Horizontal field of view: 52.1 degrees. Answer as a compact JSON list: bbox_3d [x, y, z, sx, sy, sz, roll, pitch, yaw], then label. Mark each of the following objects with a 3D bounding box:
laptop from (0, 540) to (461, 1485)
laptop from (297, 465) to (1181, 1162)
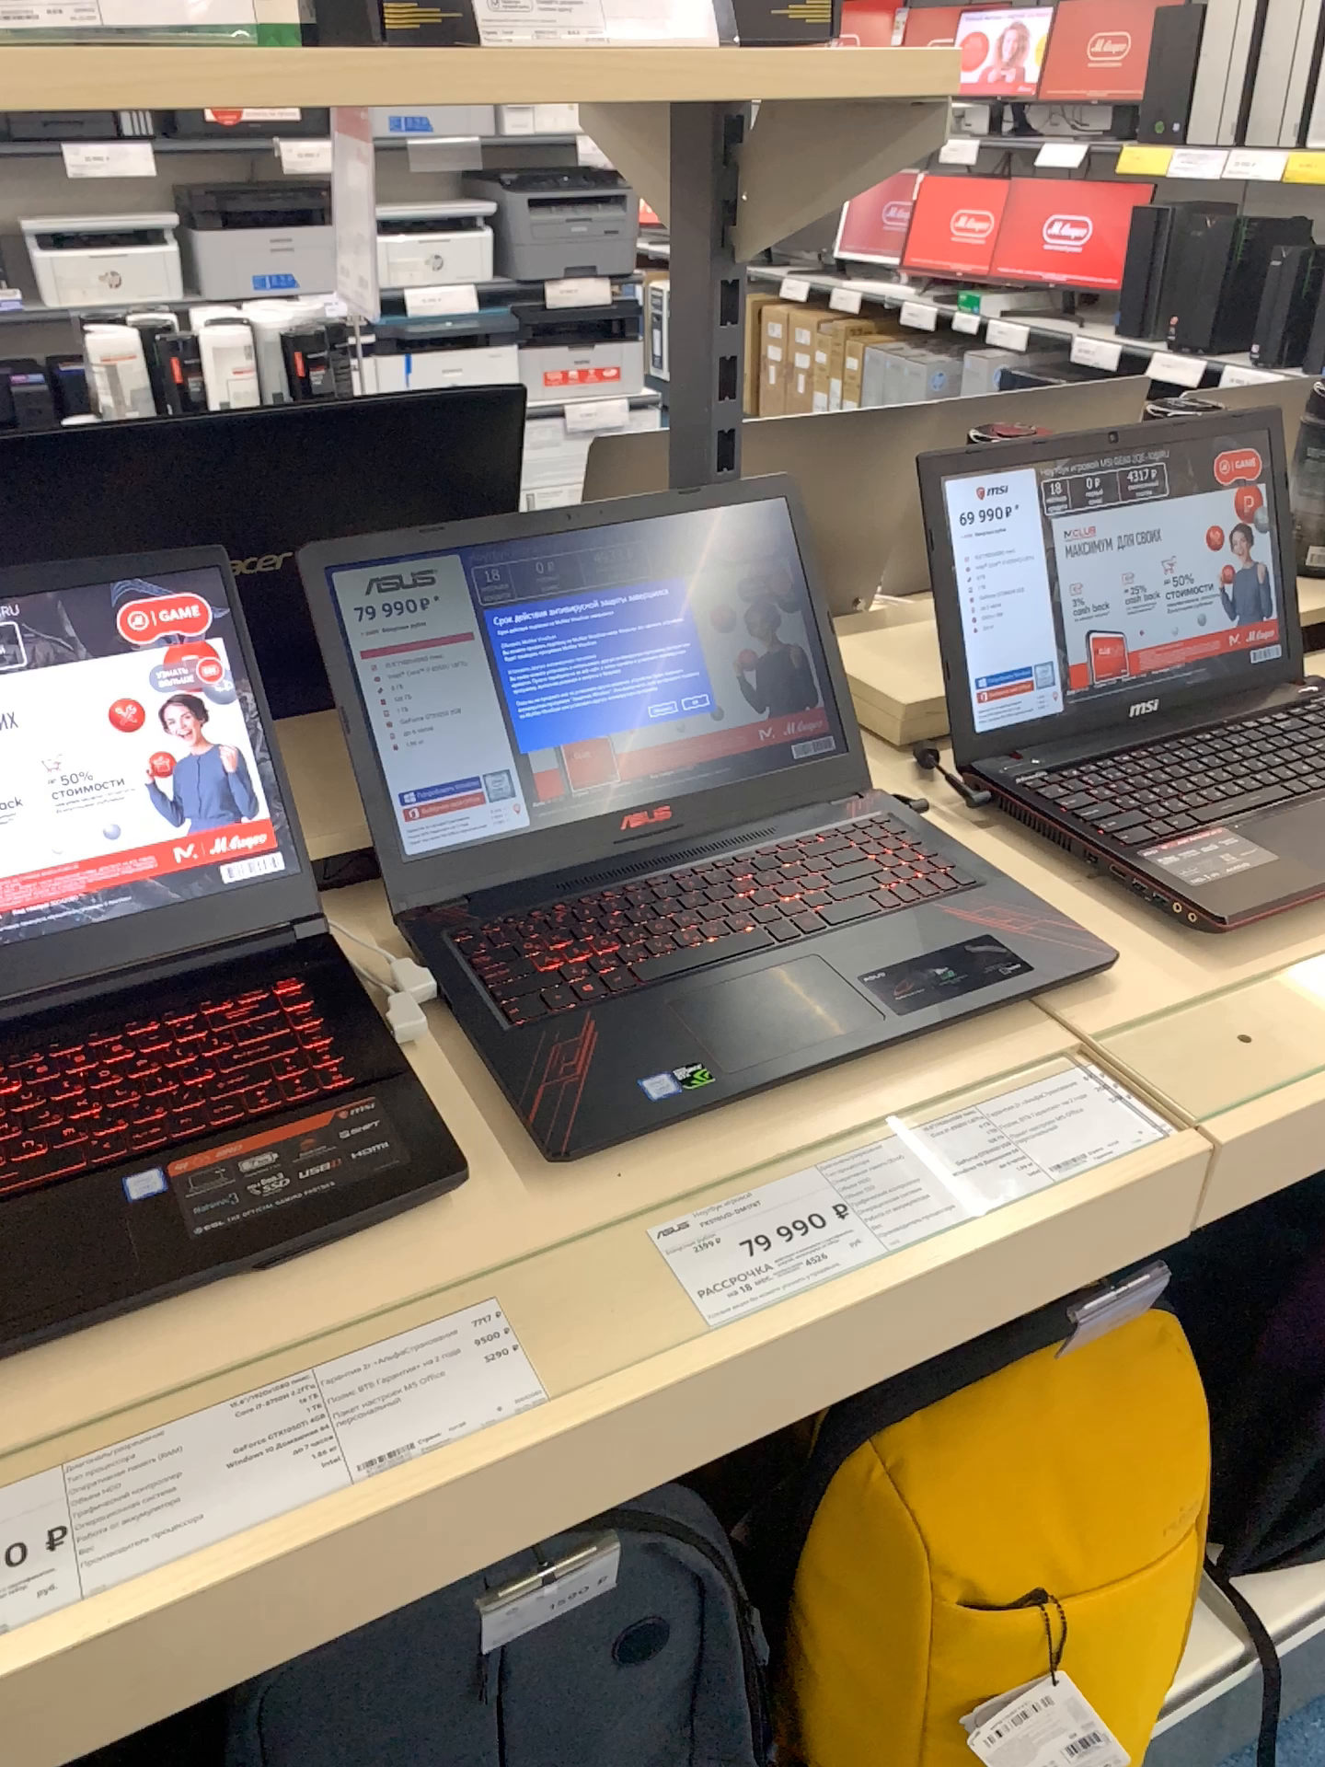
[{"bbox_3d":[-0.324,0.008,0.659,0.339,0.209,0.354,-15,34,-25],"label":"laptop"},{"bbox_3d":[0.020,-0.086,0.829,0.365,0.199,0.384,-15,34,-23],"label":"laptop"}]
